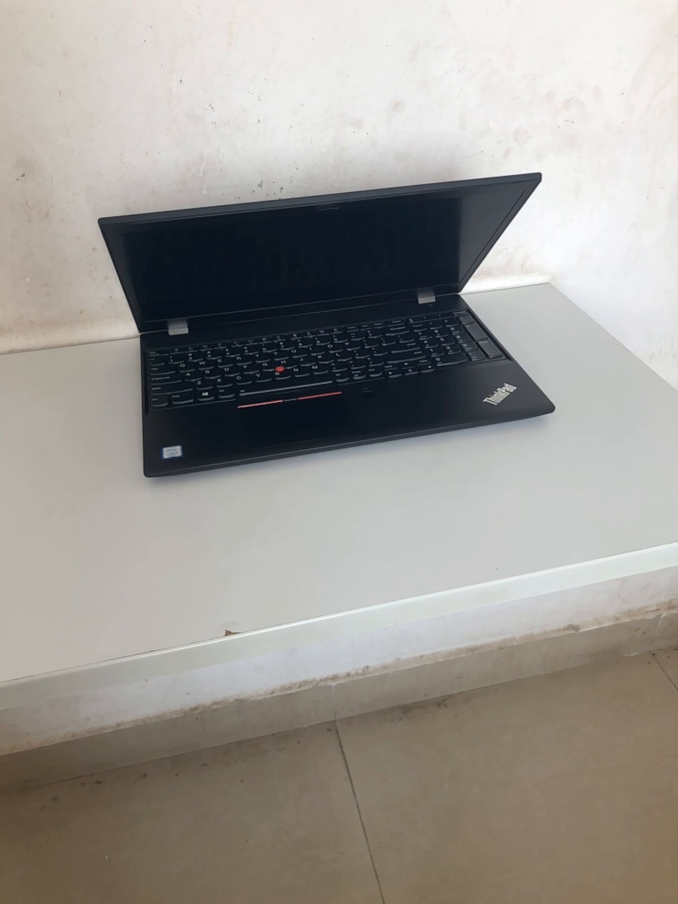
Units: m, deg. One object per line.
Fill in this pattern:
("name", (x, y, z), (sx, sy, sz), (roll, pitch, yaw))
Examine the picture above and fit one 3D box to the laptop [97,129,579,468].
("laptop", (-0.017, -0.152, 0.668), (0.347, 0.173, 0.235), (-9, 37, -8))
